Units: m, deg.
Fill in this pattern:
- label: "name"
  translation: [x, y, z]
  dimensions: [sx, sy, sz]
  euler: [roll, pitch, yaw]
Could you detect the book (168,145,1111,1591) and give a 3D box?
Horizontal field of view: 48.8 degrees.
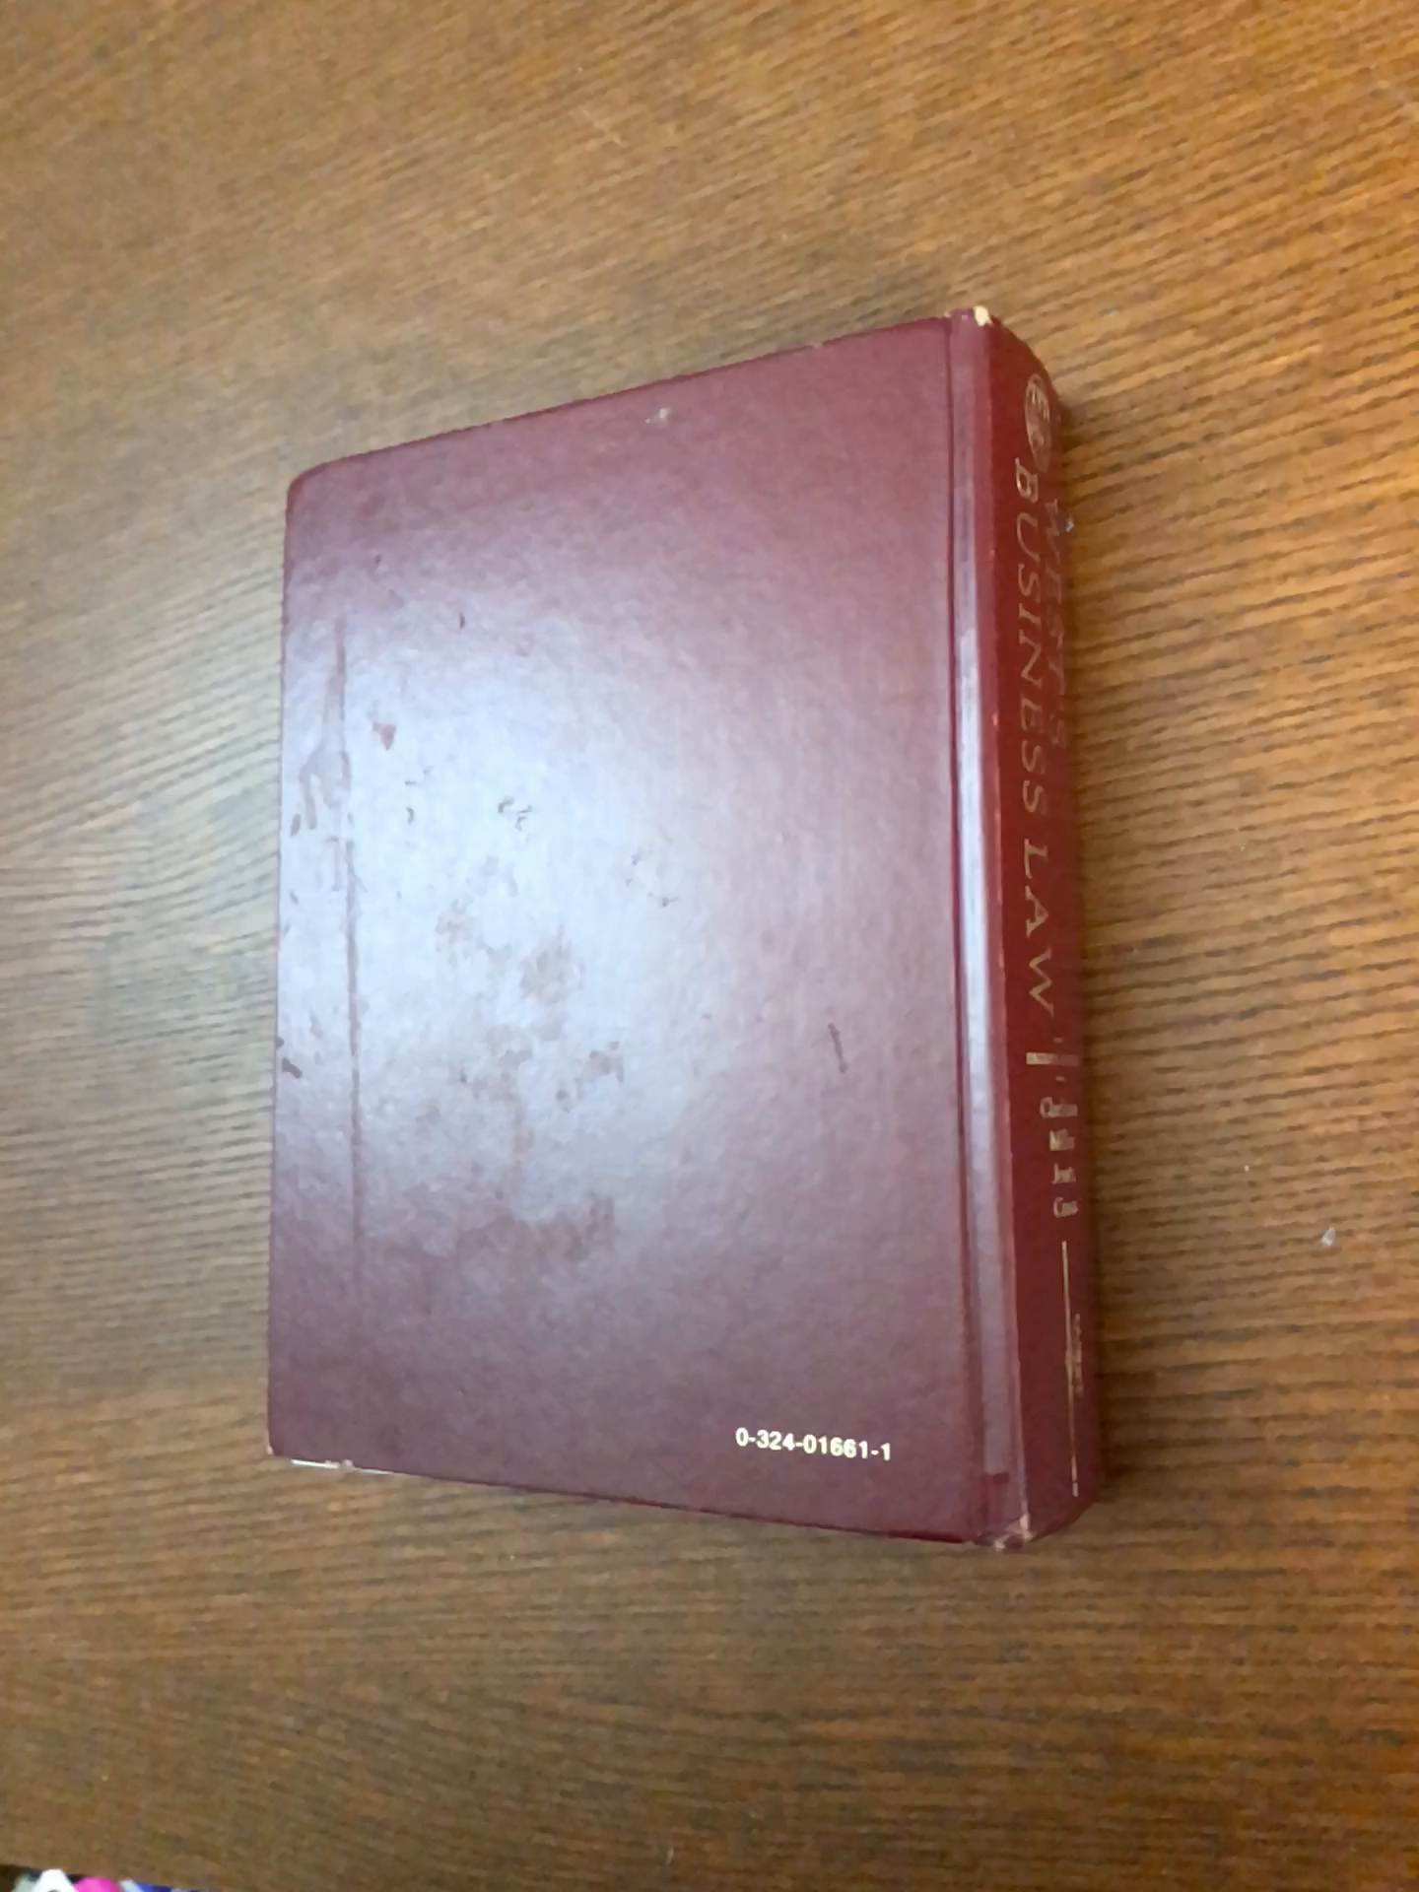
- label: "book"
  translation: [-0.024, -0.014, 0.391]
  dimensions: [0.220, 0.070, 0.290]
  euler: [-4, 83, 27]
